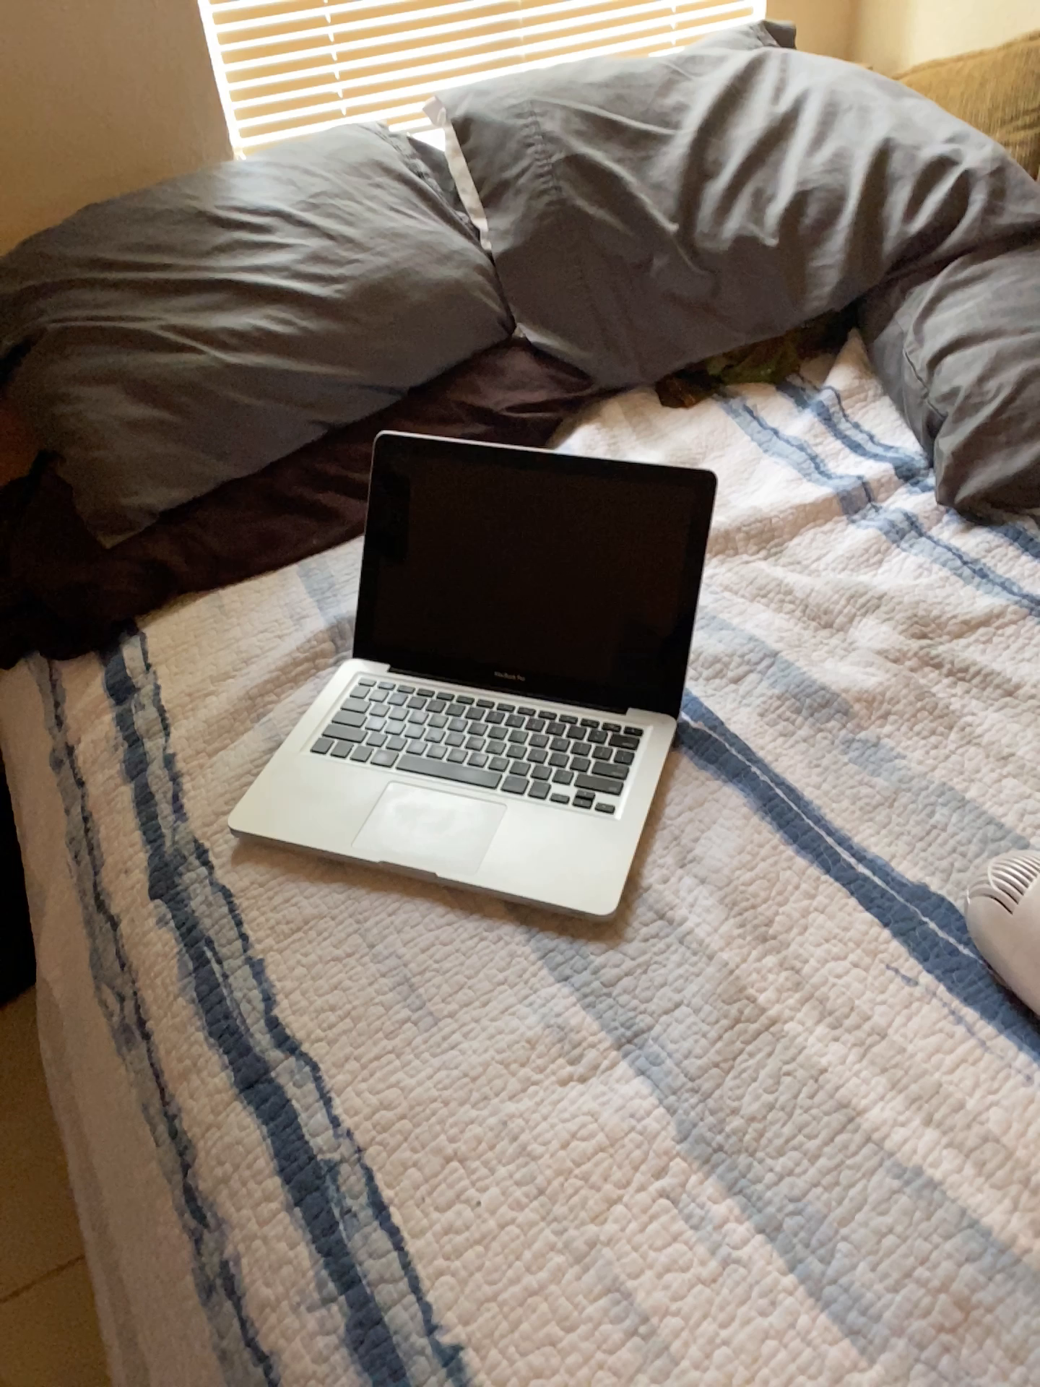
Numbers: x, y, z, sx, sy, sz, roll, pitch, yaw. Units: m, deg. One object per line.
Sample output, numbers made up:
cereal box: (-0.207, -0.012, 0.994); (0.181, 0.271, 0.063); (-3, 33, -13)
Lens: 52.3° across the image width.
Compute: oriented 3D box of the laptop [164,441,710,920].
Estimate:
laptop: (-0.037, -0.038, 0.869); (0.319, 0.169, 0.348); (10, 41, 17)
